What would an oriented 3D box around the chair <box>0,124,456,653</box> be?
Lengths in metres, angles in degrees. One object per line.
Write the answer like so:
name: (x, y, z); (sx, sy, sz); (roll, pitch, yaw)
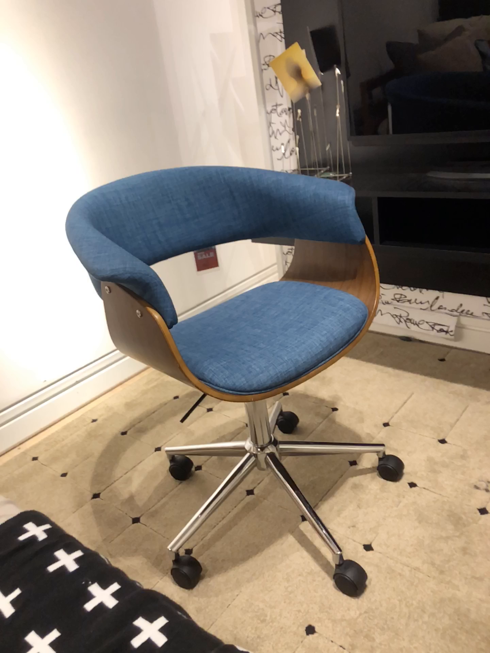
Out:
chair: (-0.027, 0.052, 1.127); (0.672, 0.775, 0.613); (15, 33, 42)
